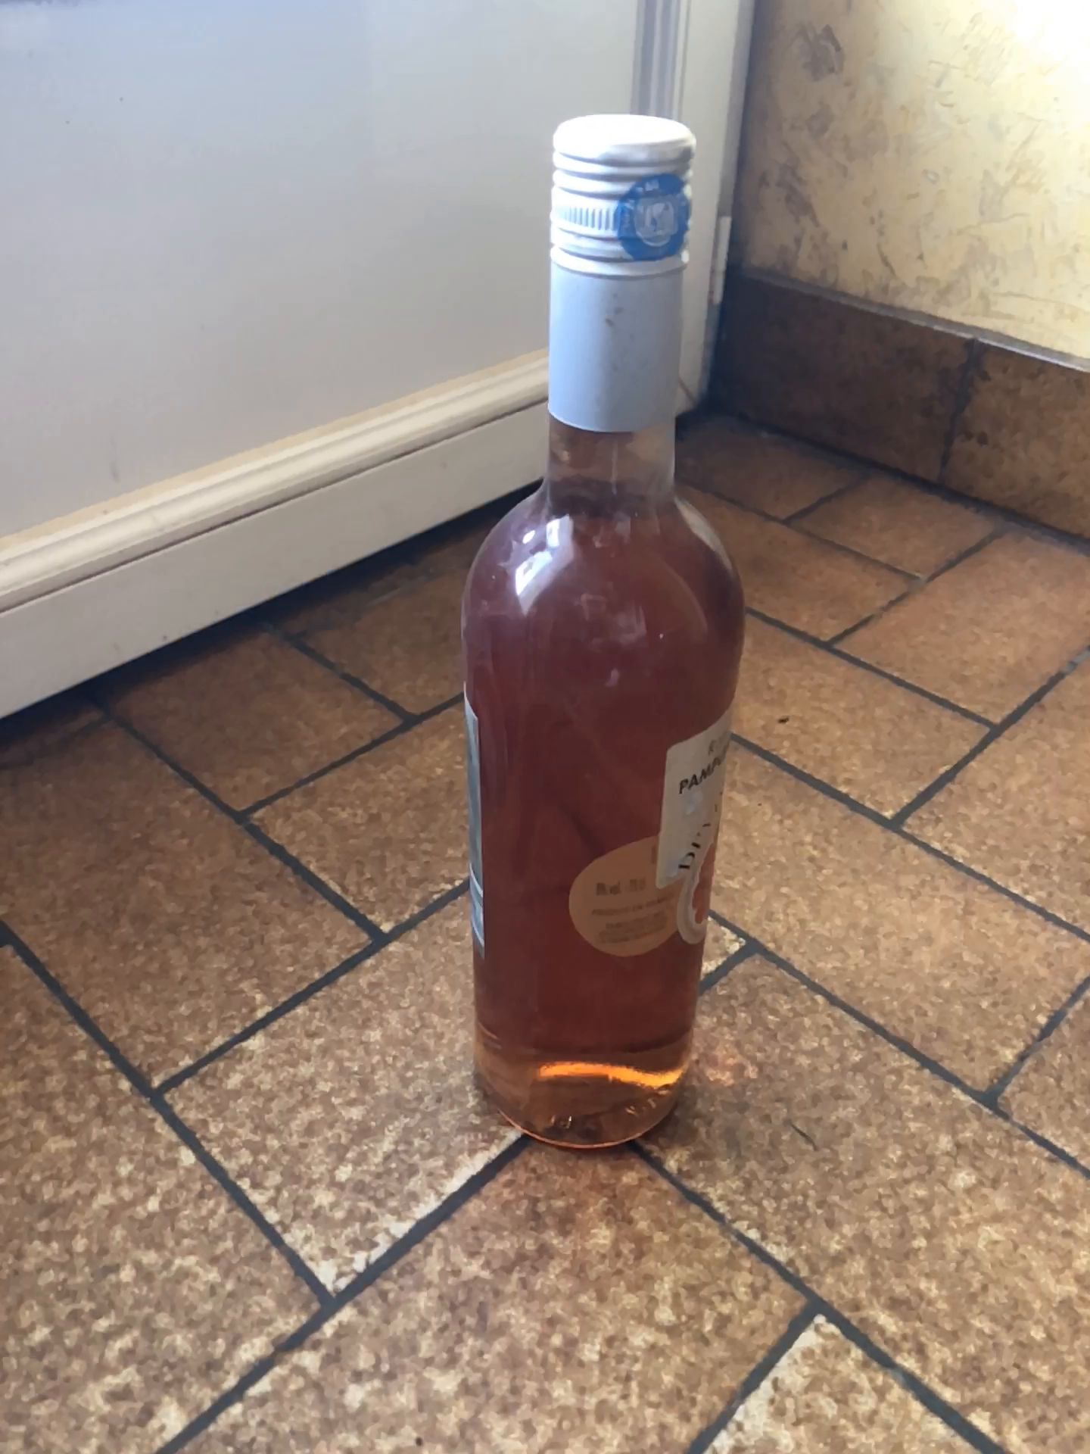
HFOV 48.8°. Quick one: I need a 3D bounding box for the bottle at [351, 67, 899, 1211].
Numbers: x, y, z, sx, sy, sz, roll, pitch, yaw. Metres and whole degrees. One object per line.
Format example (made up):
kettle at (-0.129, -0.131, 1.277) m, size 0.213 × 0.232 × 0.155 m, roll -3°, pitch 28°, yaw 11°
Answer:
bottle at (0.015, -0.003, 0.320) m, size 0.080 × 0.288 × 0.081 m, roll 1°, pitch 36°, yaw -1°
